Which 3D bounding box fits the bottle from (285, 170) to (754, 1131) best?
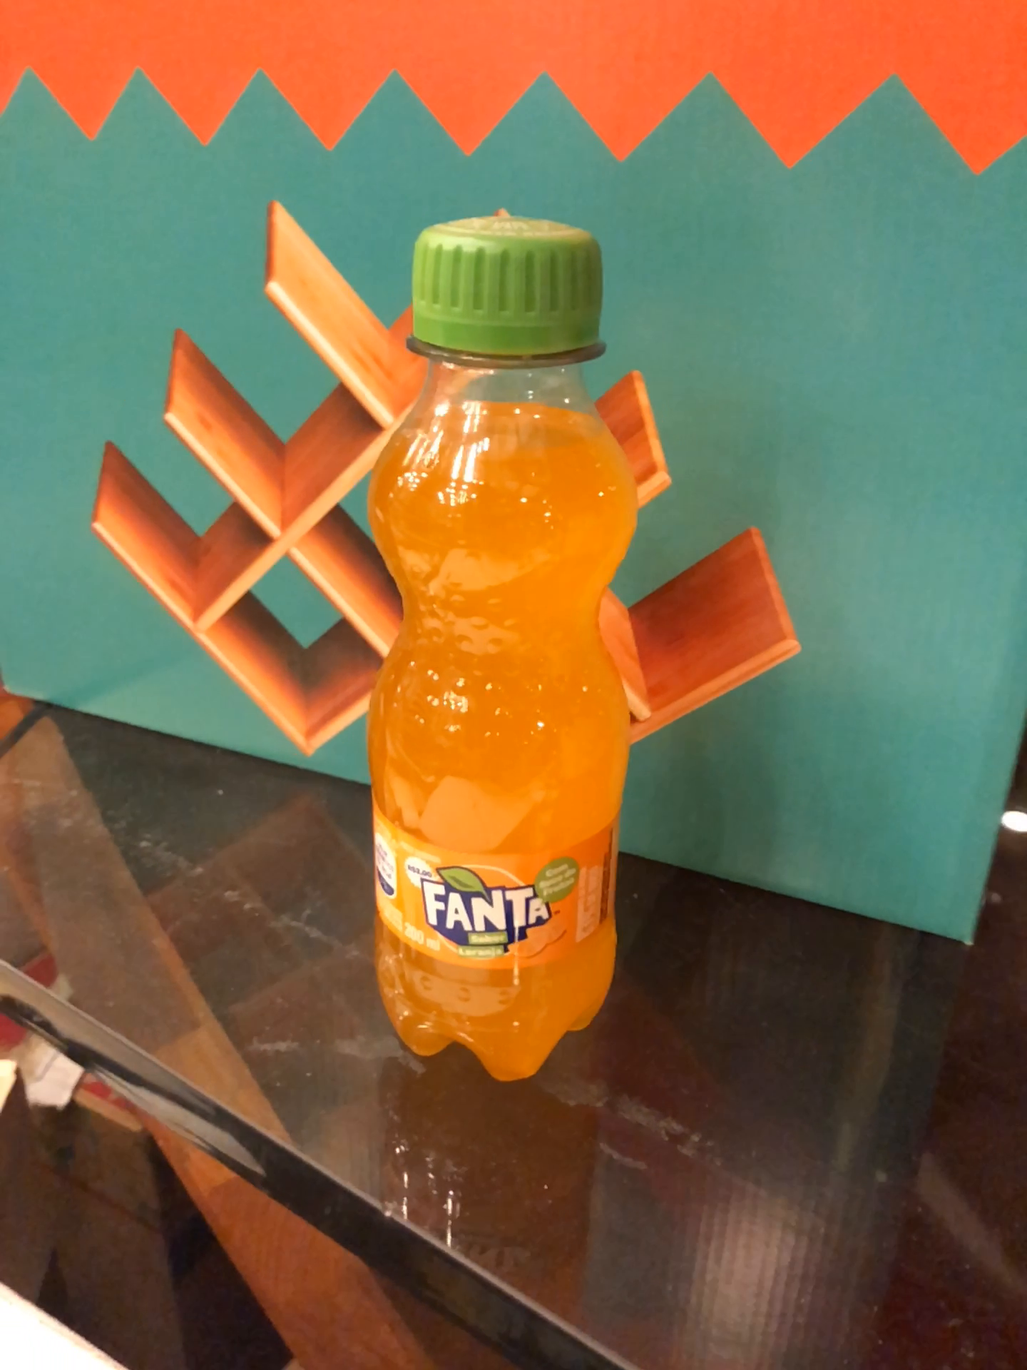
[{"bbox_3d":[0.005,-0.005,0.210,0.060,0.159,0.060,0,26,0],"label":"bottle"}]
